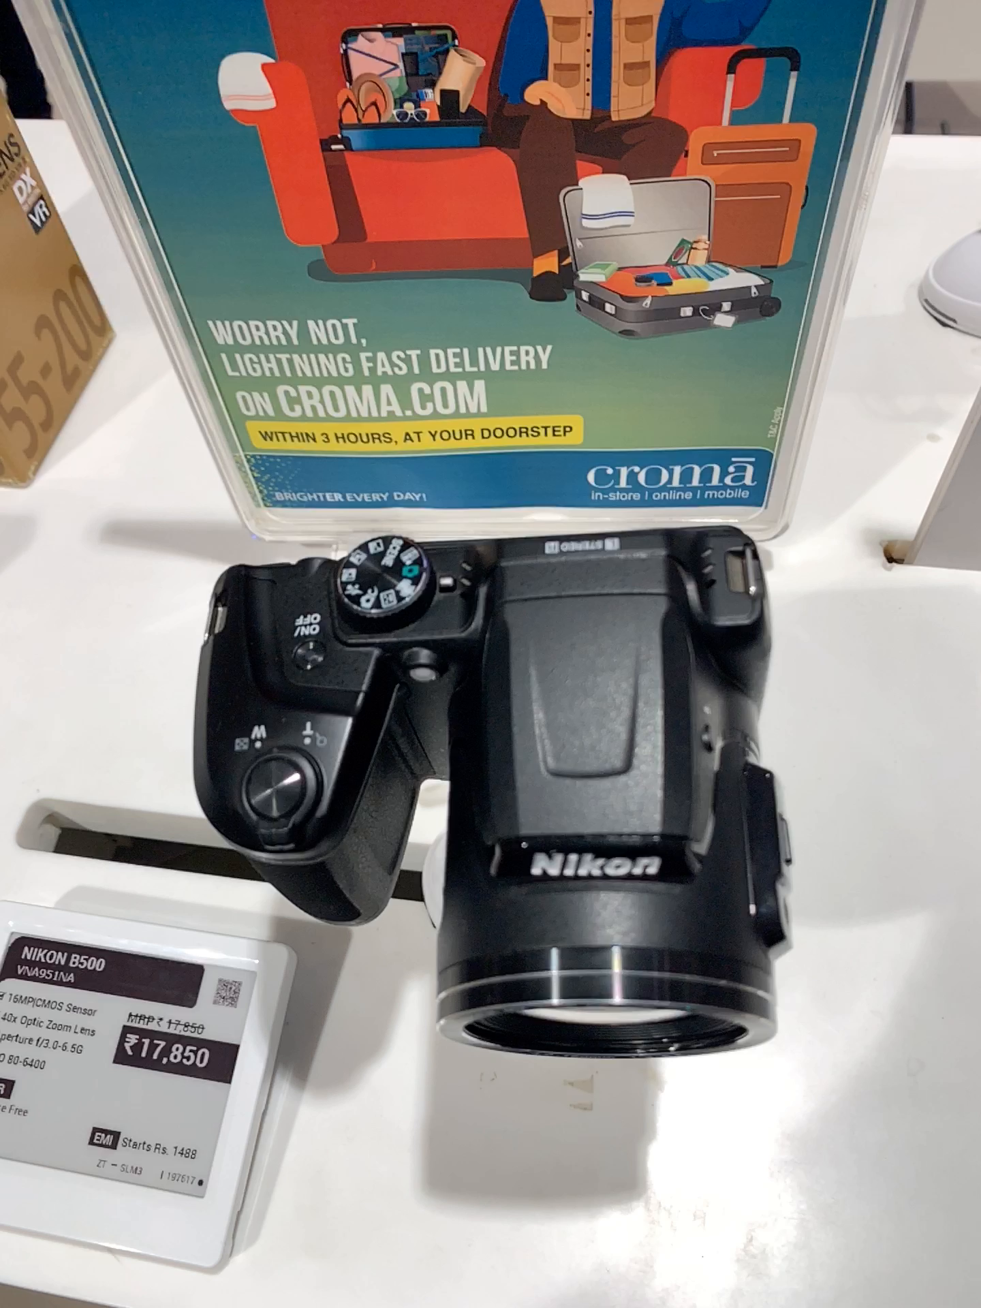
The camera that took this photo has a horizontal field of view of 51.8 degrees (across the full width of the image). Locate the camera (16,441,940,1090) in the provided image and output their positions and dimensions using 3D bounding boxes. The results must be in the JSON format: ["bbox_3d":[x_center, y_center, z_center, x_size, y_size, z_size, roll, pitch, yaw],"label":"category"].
[{"bbox_3d":[0.000,0.025,0.189,0.120,0.080,0.090,-2,57,4],"label":"camera"}]
